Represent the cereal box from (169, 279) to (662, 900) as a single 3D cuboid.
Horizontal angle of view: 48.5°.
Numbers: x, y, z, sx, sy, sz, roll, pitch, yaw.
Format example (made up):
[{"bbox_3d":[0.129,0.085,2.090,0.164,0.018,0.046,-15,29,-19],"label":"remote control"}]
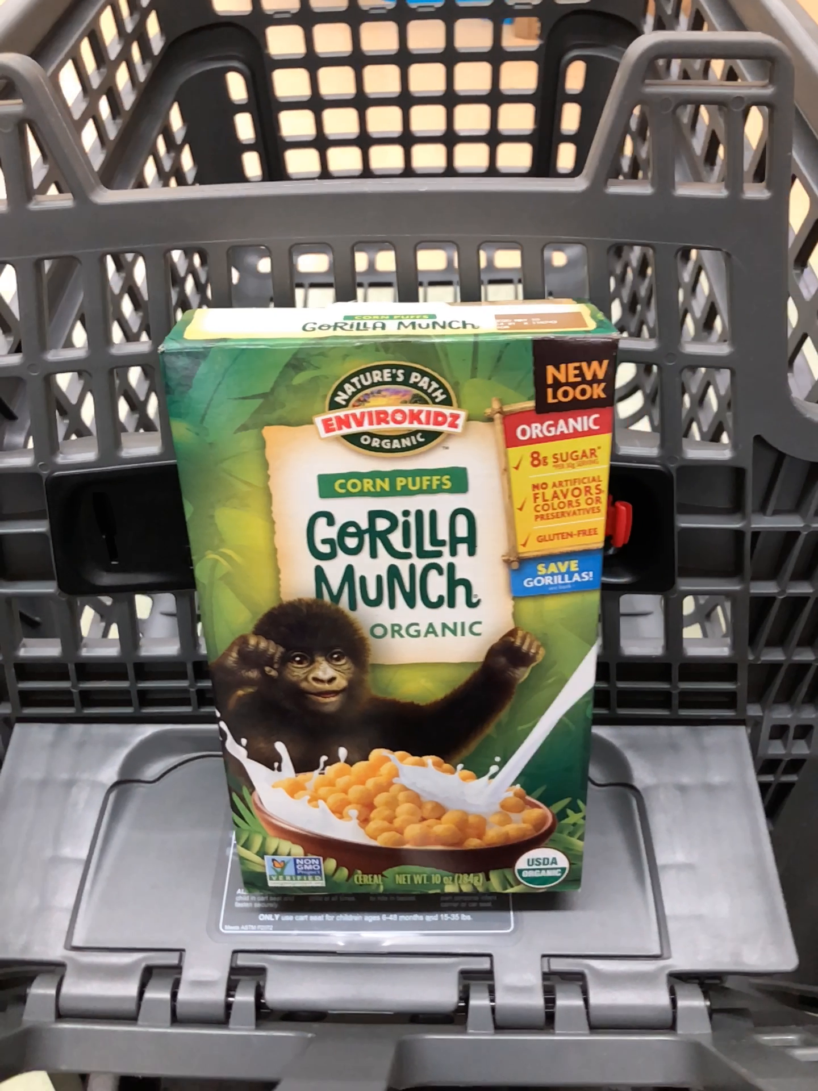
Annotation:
[{"bbox_3d":[0.007,0.029,0.385,0.160,0.260,0.070,-1,28,2],"label":"cereal box"}]
